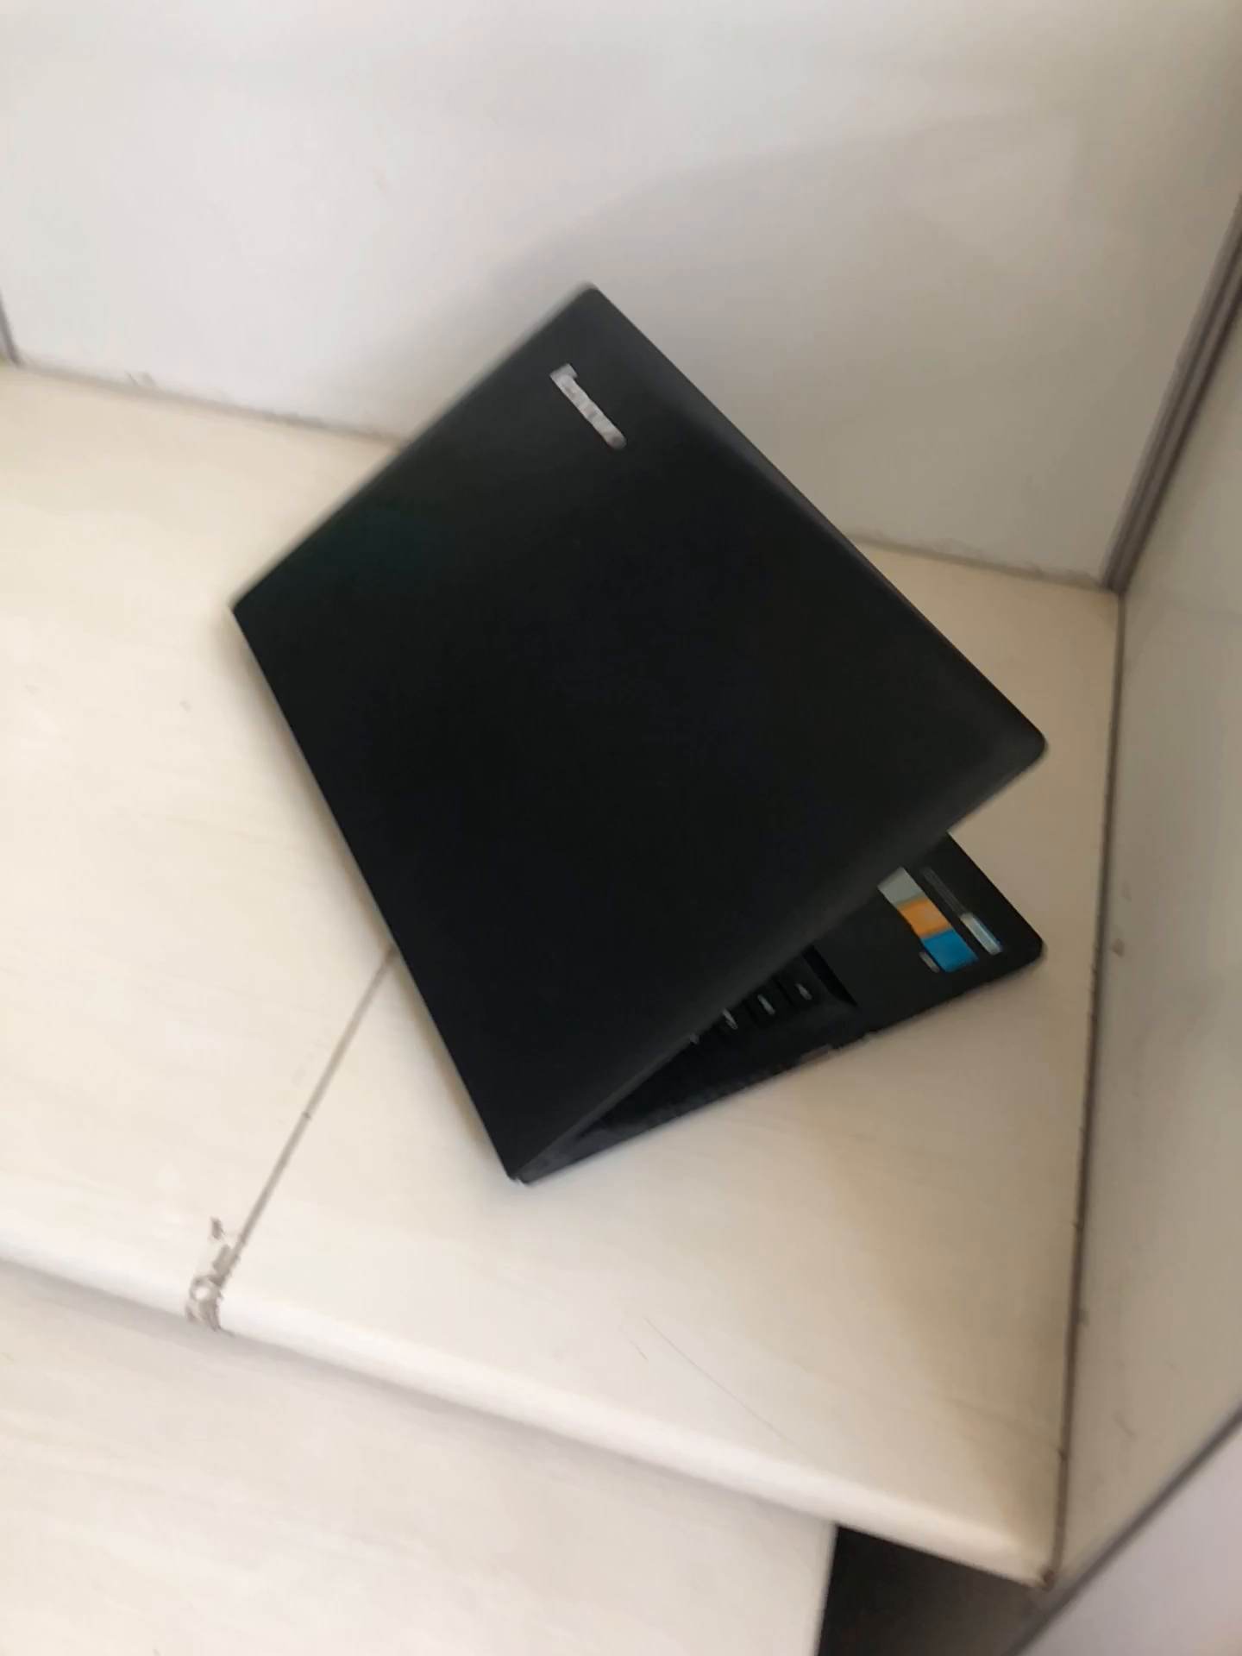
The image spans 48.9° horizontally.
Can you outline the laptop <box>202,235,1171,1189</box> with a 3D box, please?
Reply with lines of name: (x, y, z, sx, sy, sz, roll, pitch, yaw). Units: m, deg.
laptop: (-0.005, -0.082, 0.627, 0.252, 0.161, 0.376, -21, 52, -16)
